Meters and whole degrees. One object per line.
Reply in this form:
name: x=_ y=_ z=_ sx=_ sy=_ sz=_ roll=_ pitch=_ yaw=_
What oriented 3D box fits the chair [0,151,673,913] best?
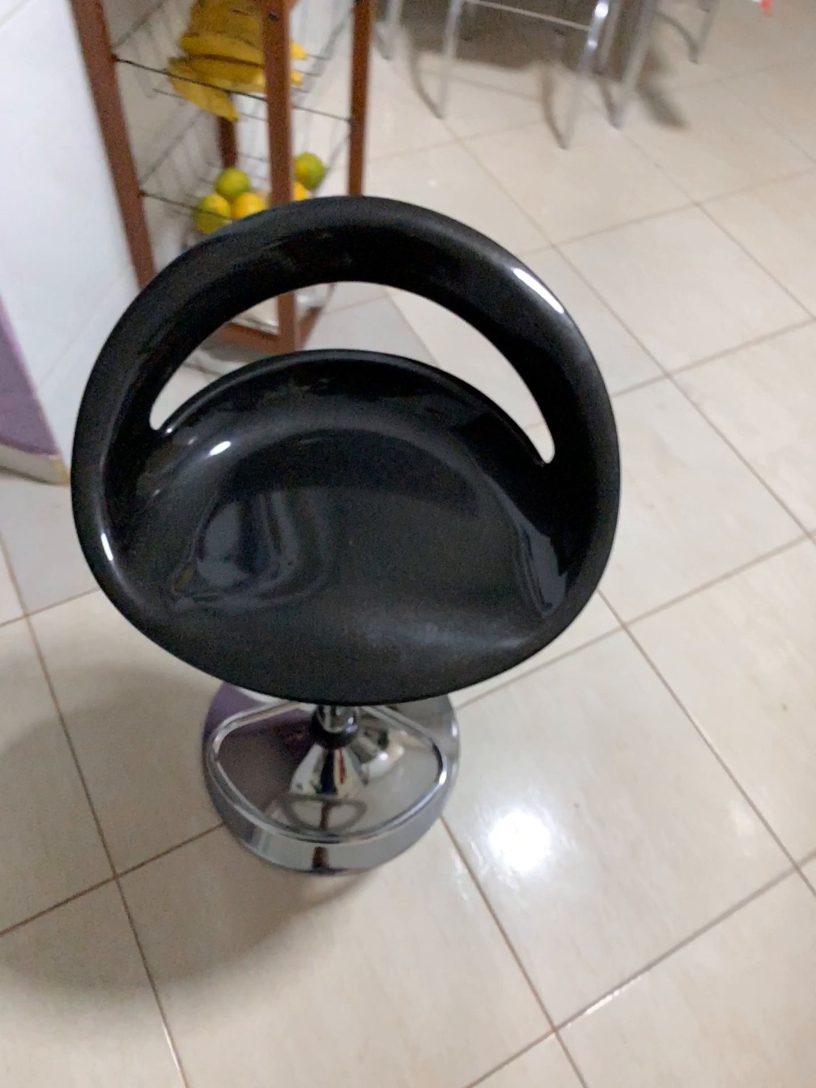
chair: x=-0.073 y=0.086 z=0.977 sx=0.451 sy=0.814 sz=0.446 roll=9 pitch=57 yaw=-1
